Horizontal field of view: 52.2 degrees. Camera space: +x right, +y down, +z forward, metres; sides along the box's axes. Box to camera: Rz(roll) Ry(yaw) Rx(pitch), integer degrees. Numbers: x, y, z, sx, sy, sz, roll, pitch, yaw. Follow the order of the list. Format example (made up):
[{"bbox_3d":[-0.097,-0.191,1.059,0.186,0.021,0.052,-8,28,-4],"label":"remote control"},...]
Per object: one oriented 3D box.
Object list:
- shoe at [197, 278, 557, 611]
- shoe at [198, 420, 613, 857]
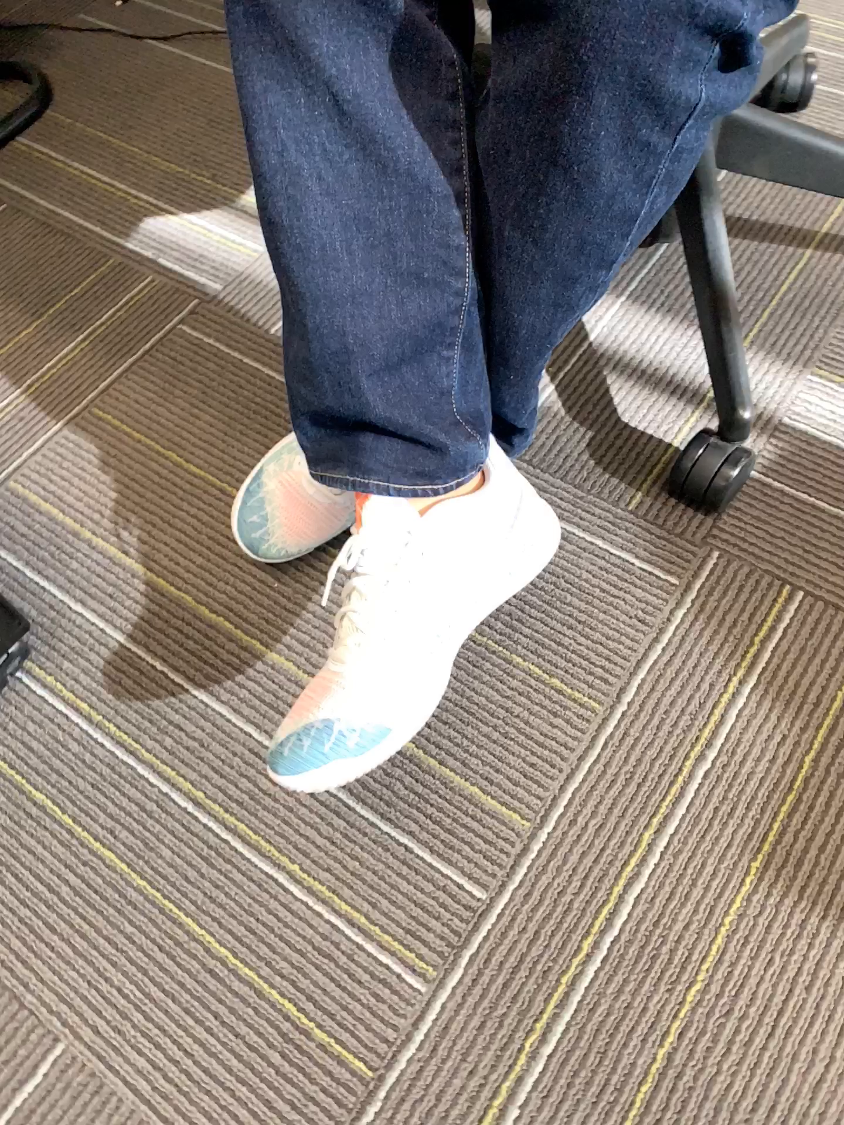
[{"bbox_3d":[-0.040,-0.099,0.739,0.286,0.109,0.115,-40,92,-18],"label":"shoe"},{"bbox_3d":[-0.011,0.043,0.592,0.113,0.108,0.265,45,74,-16],"label":"shoe"}]
